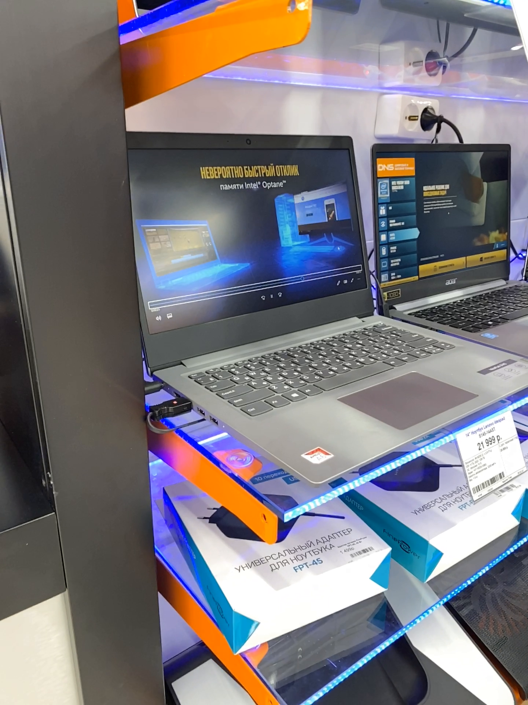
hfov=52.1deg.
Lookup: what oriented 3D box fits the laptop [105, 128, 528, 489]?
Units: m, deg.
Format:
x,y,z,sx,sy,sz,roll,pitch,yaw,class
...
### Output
x,y,z,sx,sy,sz,roll,pitch,yaw,class
0.073,-0.091,0.518,0.327,0.215,0.303,-14,25,-35,laptop
